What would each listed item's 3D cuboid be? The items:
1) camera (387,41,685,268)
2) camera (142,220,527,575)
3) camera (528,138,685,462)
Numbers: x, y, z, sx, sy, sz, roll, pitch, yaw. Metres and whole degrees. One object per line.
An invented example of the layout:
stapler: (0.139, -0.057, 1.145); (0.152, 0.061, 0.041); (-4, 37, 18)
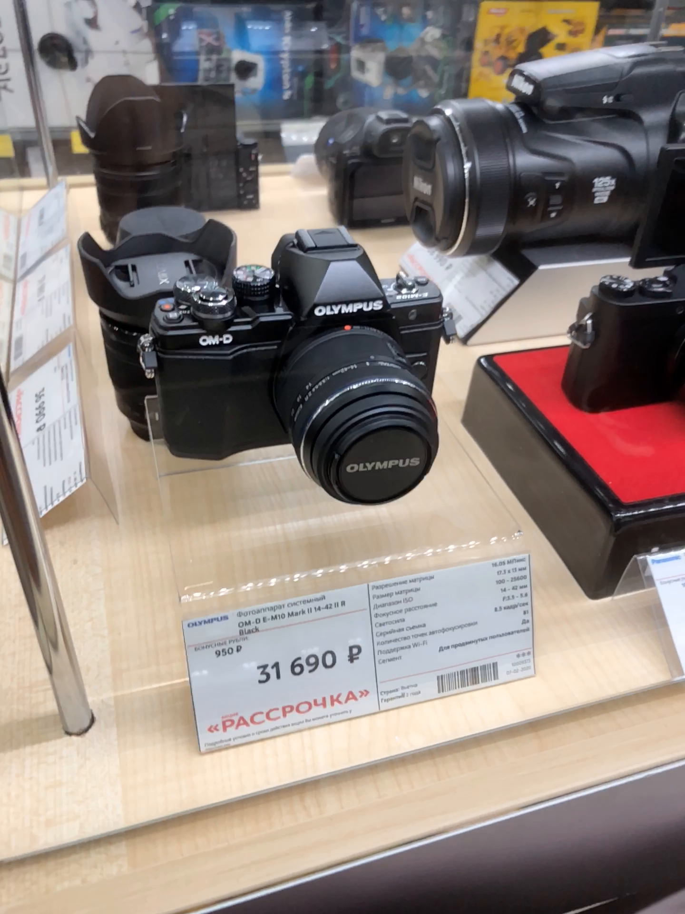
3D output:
camera: (0.135, -0.200, 0.496); (0.185, 0.109, 0.104); (-5, 37, -10)
camera: (-0.010, -0.030, 0.305); (0.118, 0.088, 0.101); (-8, 38, -14)
camera: (0.161, -0.071, 0.335); (0.118, 0.109, 0.073); (-8, 38, -14)
